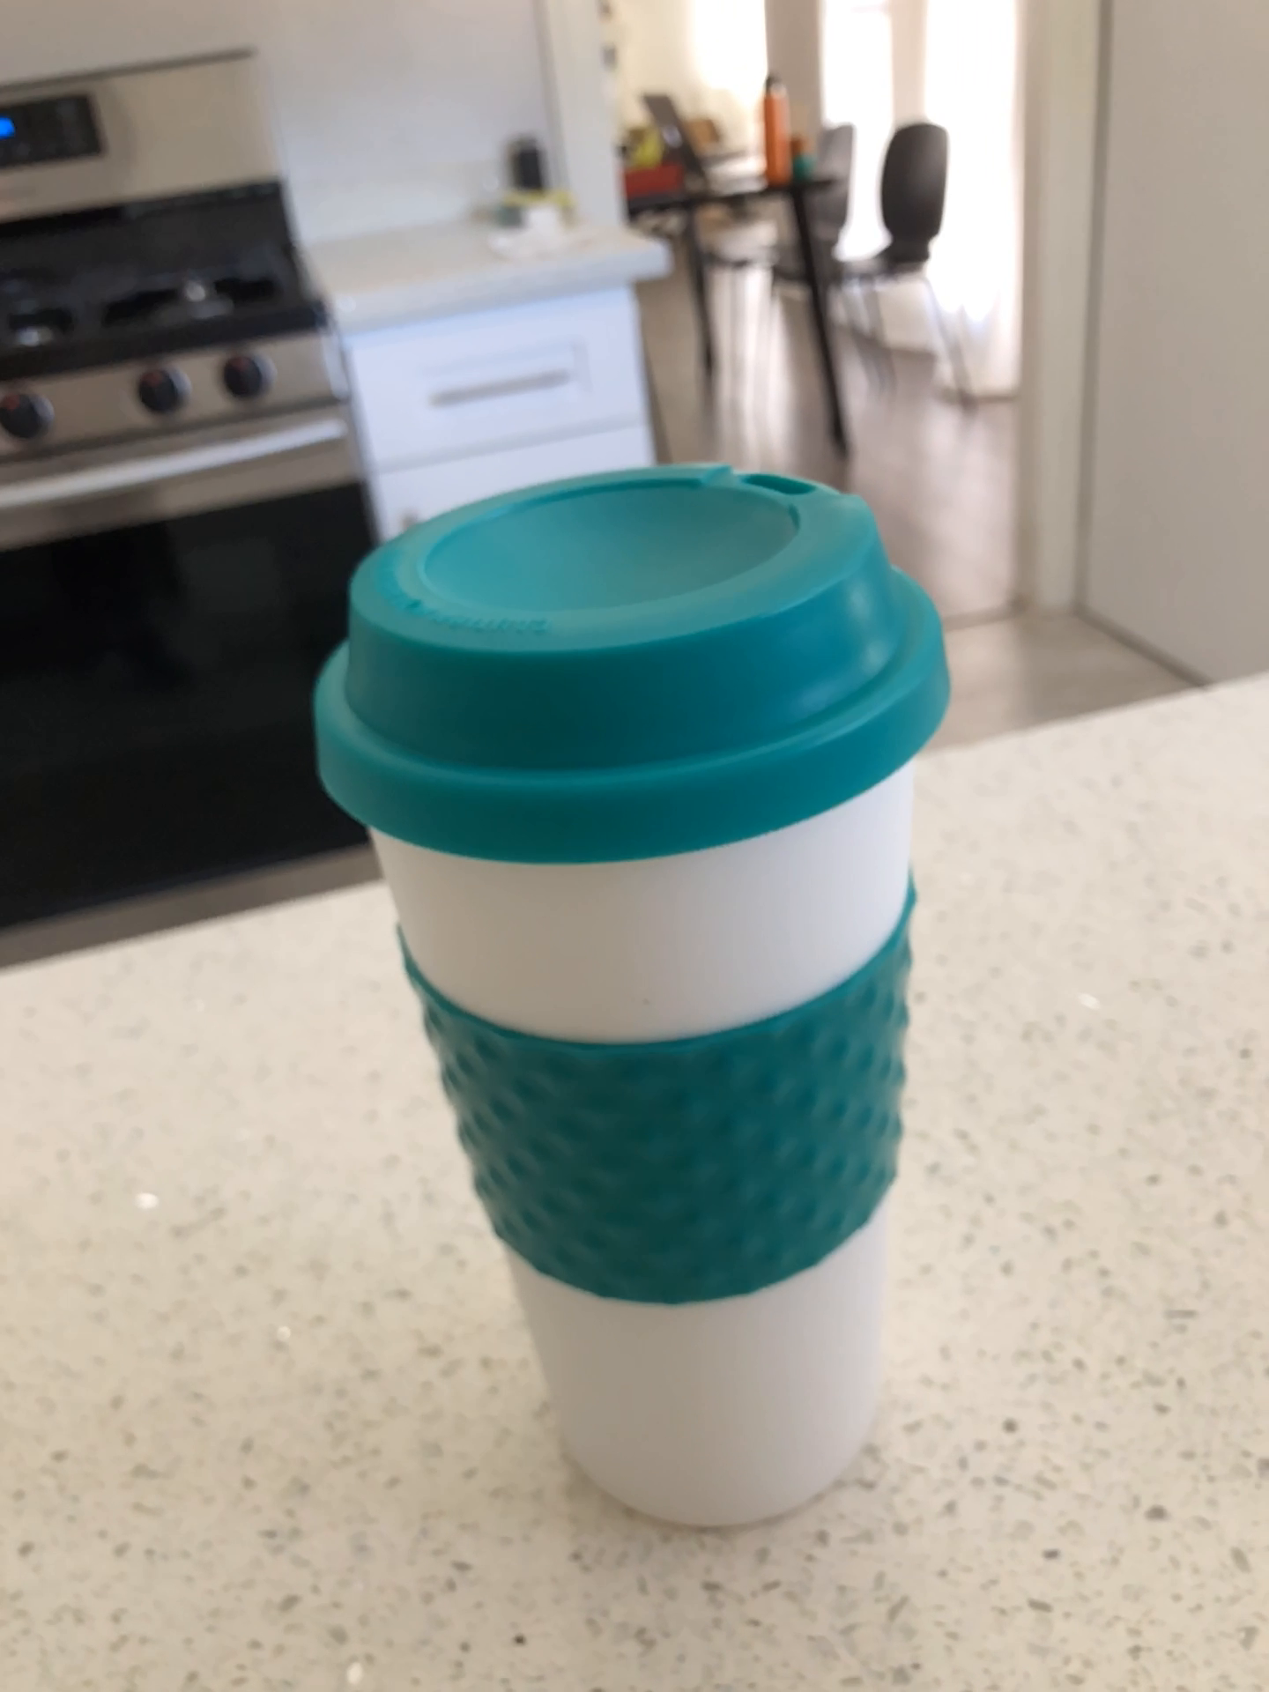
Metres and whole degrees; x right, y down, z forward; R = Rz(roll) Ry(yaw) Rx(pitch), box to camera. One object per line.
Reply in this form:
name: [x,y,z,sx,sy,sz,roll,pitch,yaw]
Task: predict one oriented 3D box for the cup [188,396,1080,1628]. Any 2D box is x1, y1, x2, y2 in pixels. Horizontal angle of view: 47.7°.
cup: [0.006,0.027,0.244,0.100,0.169,0.100,-6,28,3]
